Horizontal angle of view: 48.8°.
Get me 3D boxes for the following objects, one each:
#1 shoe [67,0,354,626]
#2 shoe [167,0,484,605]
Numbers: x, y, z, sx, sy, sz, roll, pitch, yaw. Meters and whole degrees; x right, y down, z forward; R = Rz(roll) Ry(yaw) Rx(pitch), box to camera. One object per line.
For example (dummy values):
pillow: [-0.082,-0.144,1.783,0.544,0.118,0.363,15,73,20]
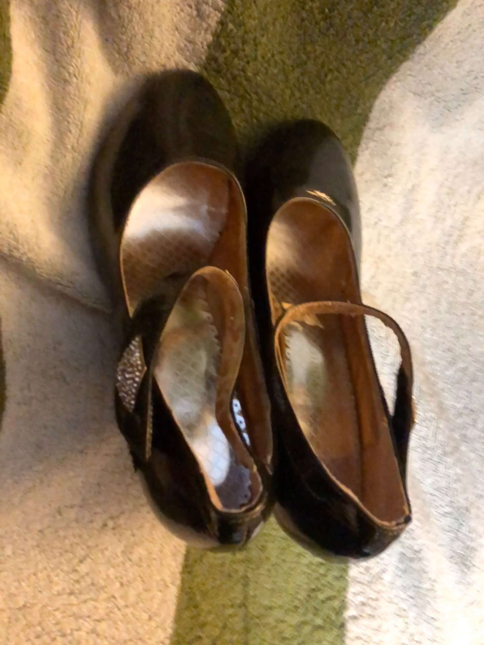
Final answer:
shoe: [-0.024,-0.024,0.240,0.090,0.120,0.240,2,88,-21]
shoe: [0.043,-0.014,0.261,0.090,0.120,0.240,12,85,-20]
